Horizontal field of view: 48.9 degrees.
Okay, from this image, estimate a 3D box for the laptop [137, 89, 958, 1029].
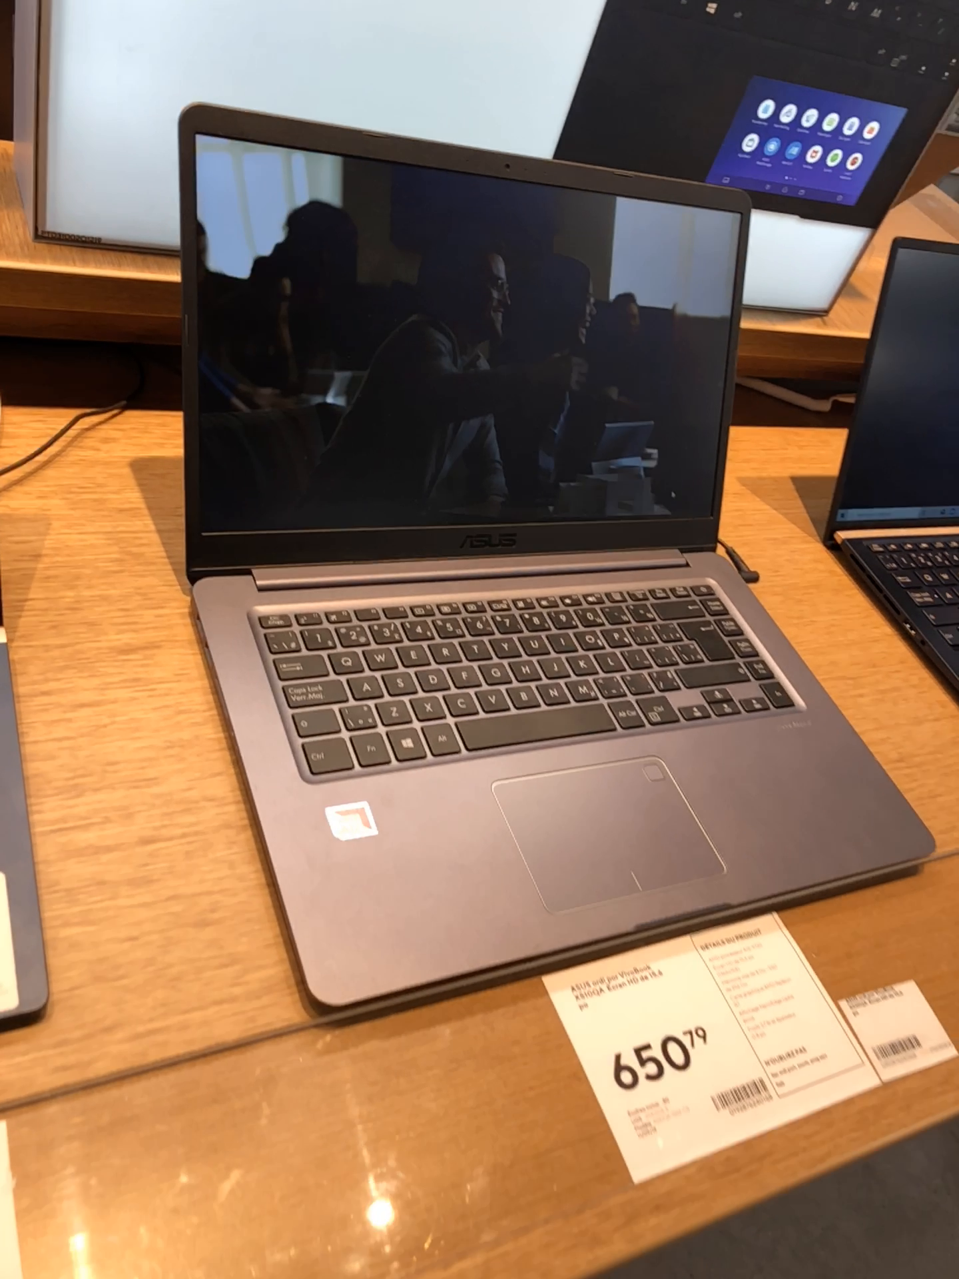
[{"bbox_3d":[0.051,-0.071,0.537,0.353,0.177,0.391,-5,50,-28],"label":"laptop"}]
